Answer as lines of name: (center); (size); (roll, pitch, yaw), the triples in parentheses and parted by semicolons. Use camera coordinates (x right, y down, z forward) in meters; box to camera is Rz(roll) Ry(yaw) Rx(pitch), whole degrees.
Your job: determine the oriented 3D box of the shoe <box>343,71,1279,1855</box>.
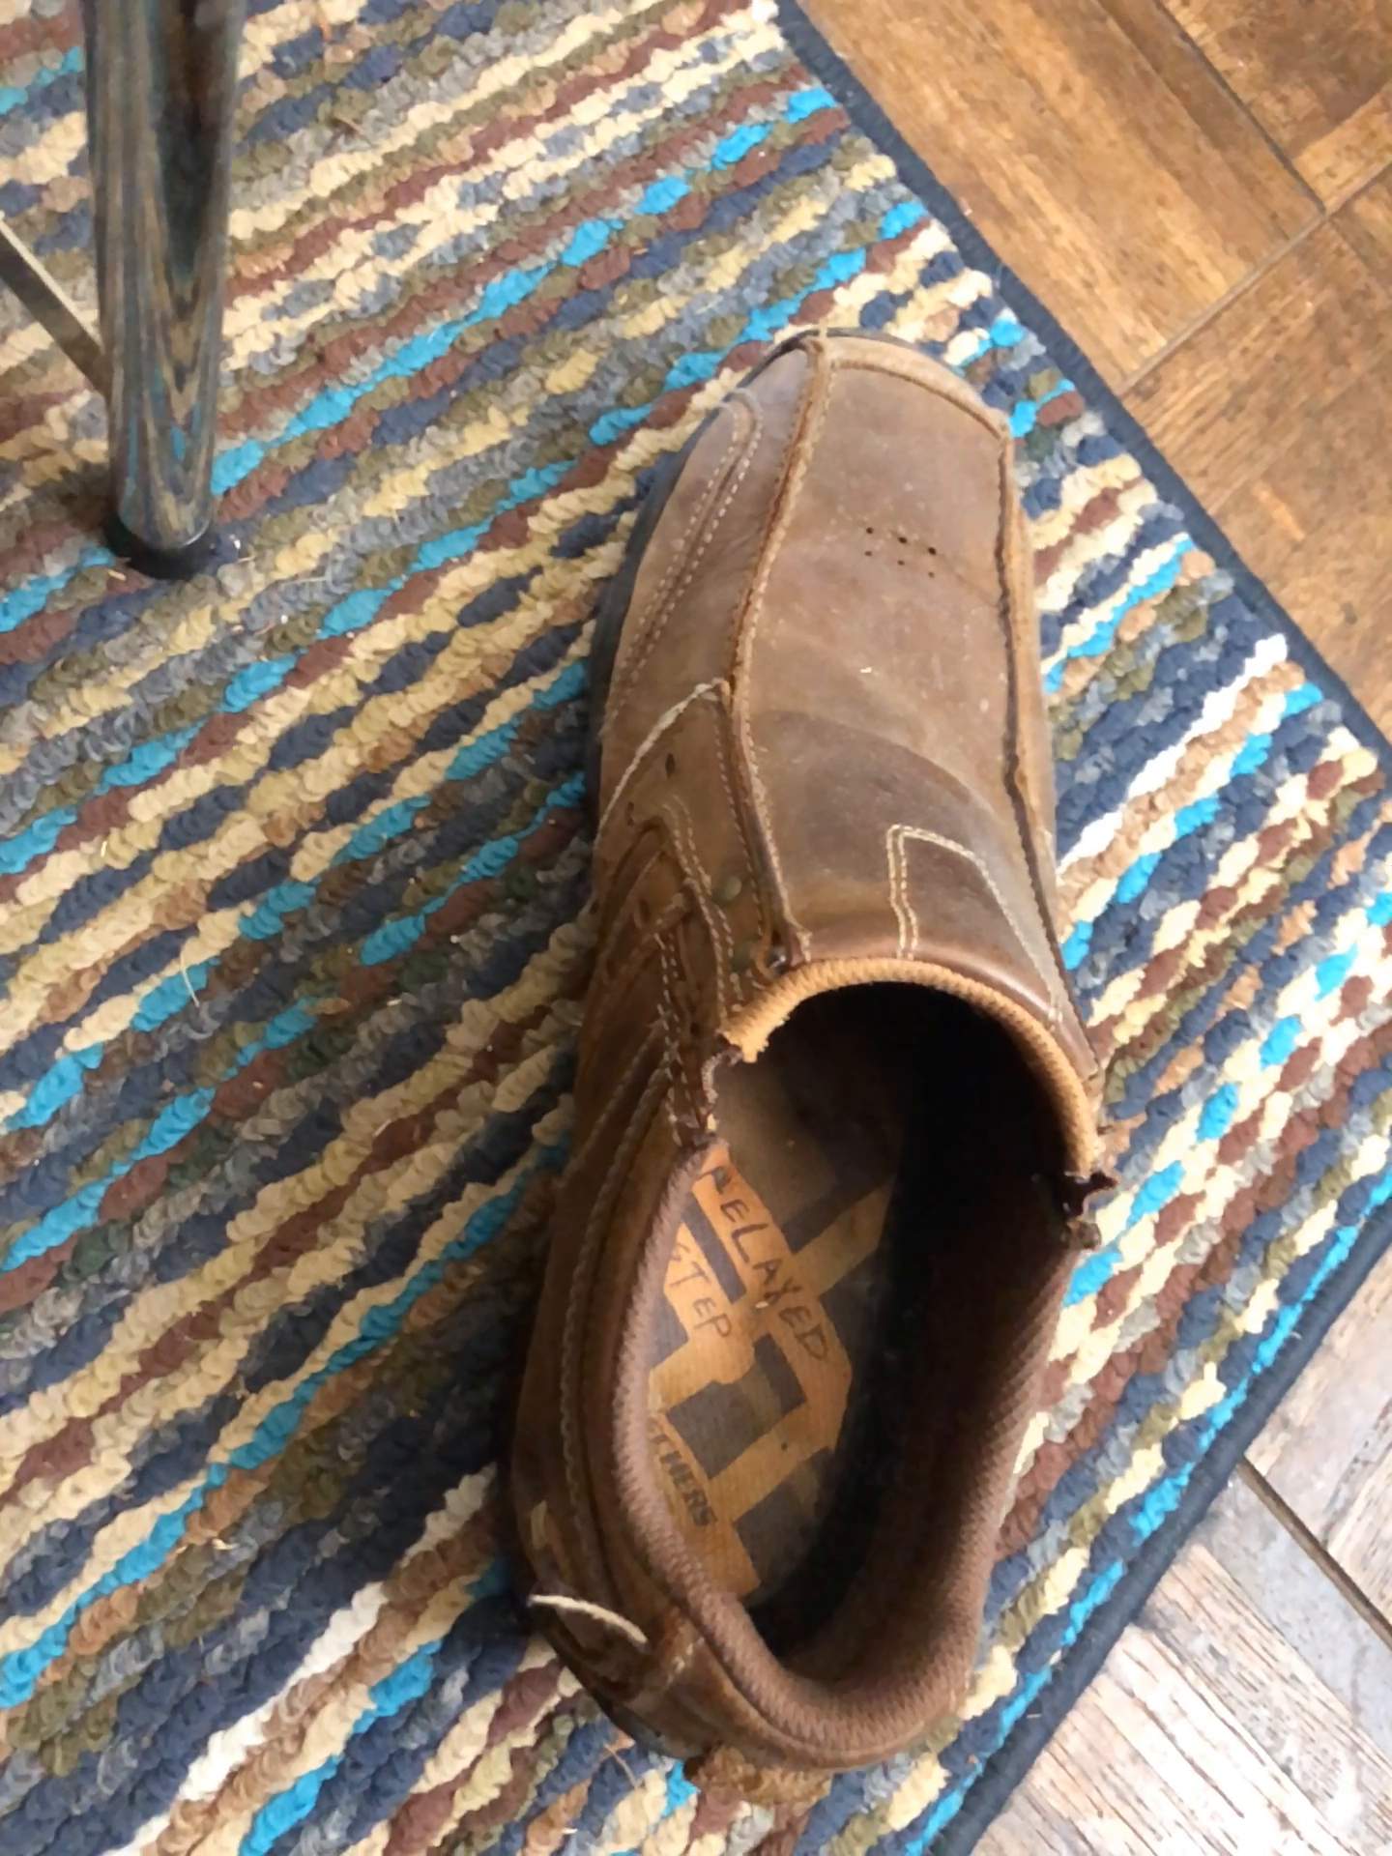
shoe: (0.025, 0.005, 0.290); (0.100, 0.100, 0.280); (17, 71, -17)
